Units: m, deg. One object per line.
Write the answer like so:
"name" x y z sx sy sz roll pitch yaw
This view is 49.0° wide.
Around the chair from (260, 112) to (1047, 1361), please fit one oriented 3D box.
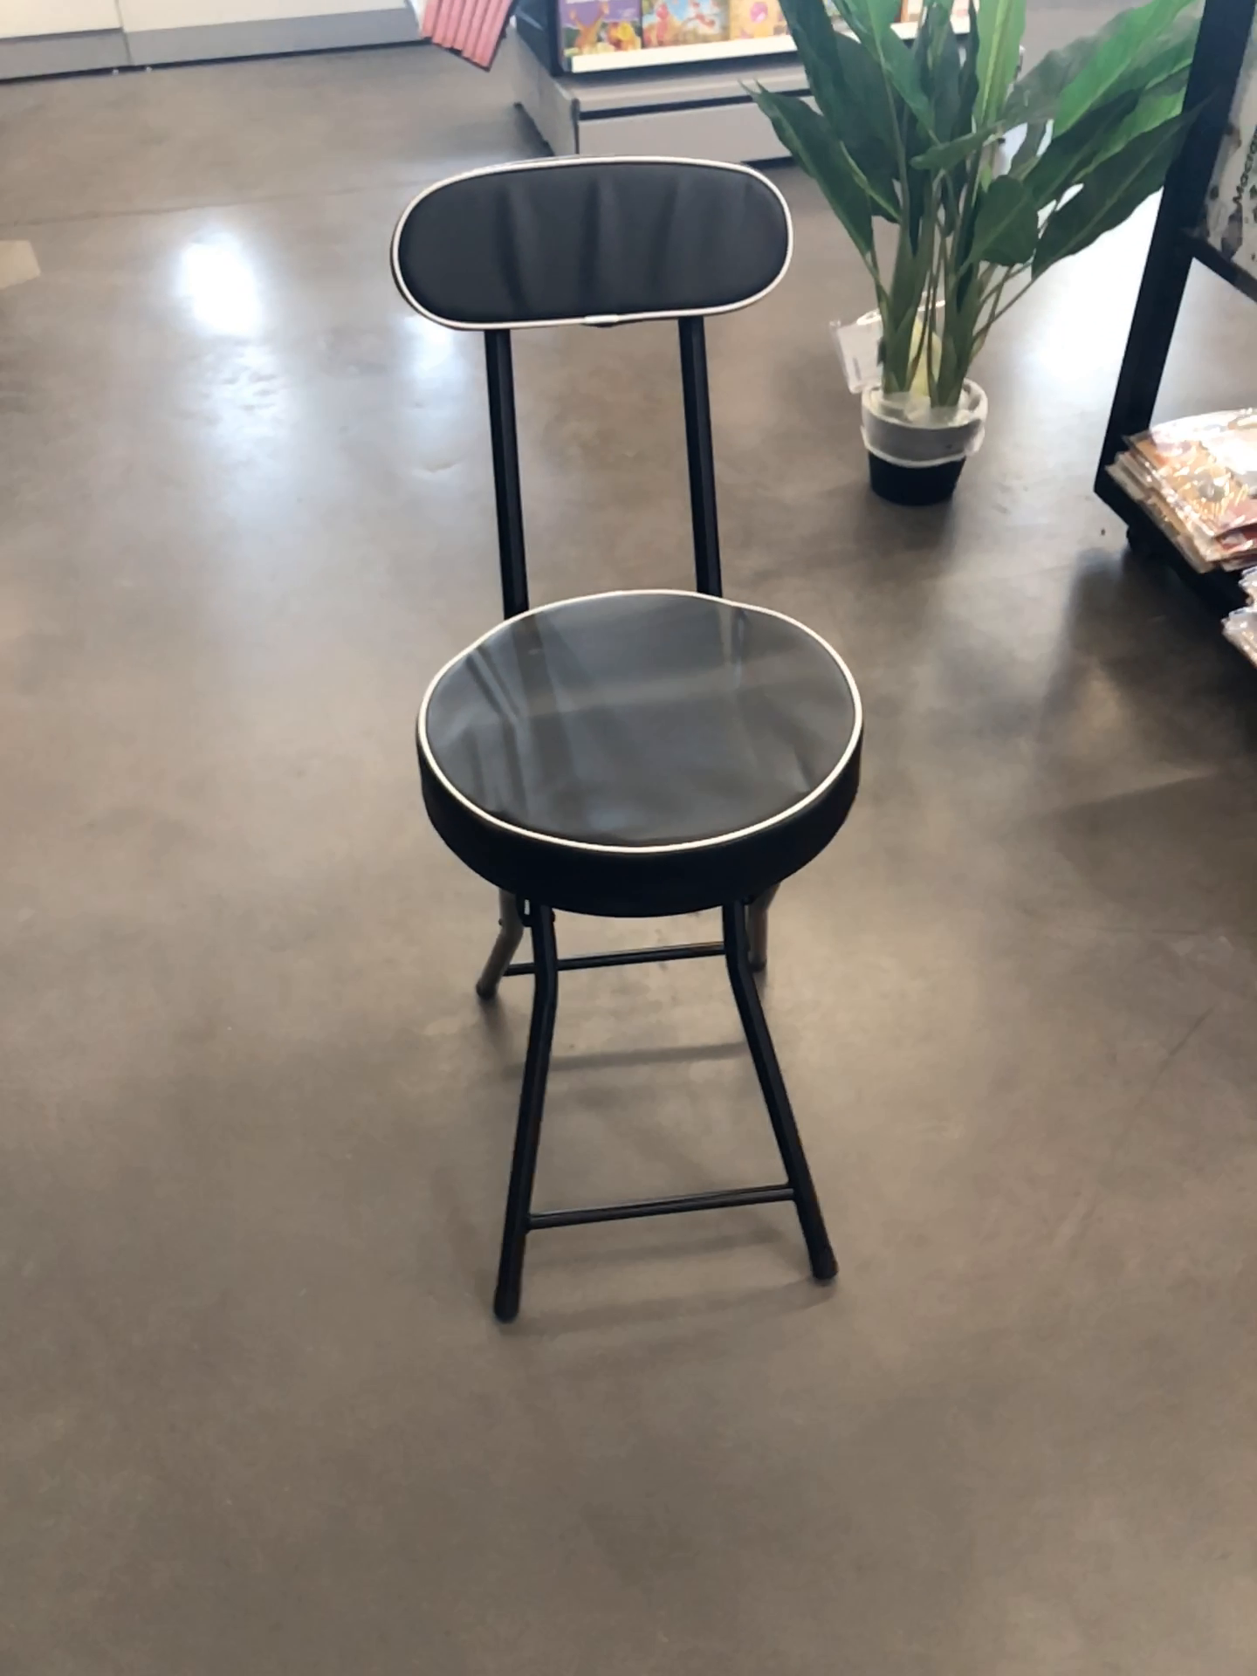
"chair" -0.004 -0.049 1.036 0.340 0.756 0.513 -5 43 -4
